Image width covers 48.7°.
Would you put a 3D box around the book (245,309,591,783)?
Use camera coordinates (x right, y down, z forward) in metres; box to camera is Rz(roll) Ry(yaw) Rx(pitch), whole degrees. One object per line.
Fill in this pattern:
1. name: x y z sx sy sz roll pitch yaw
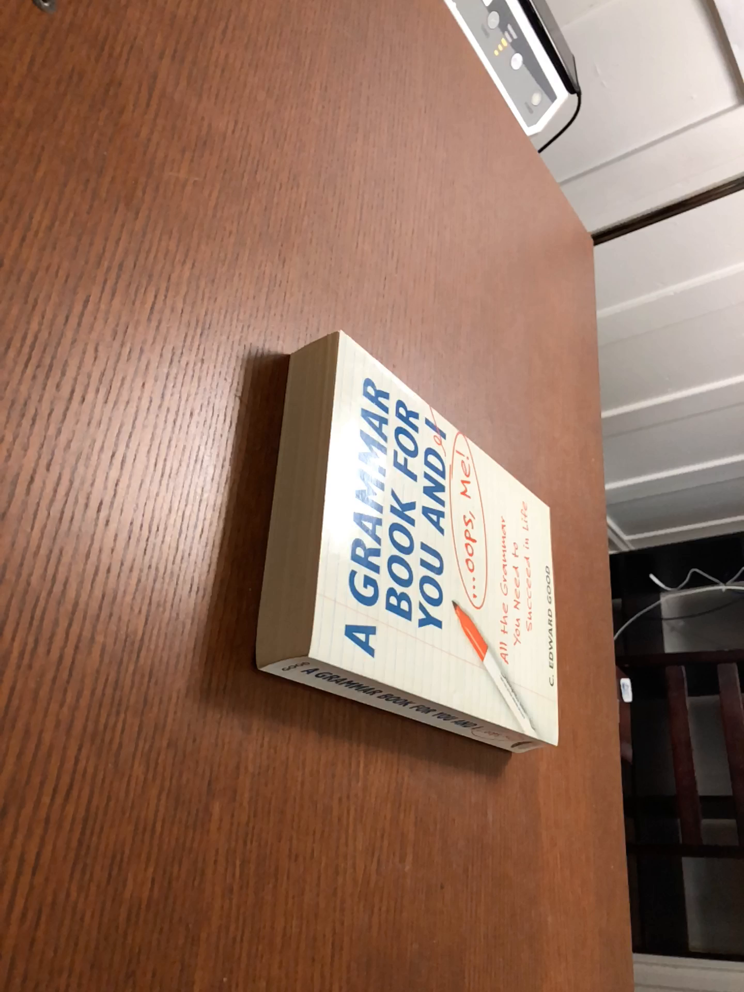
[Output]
1. book: 0.043 0.044 0.425 0.241 0.040 0.170 33 52 -46
